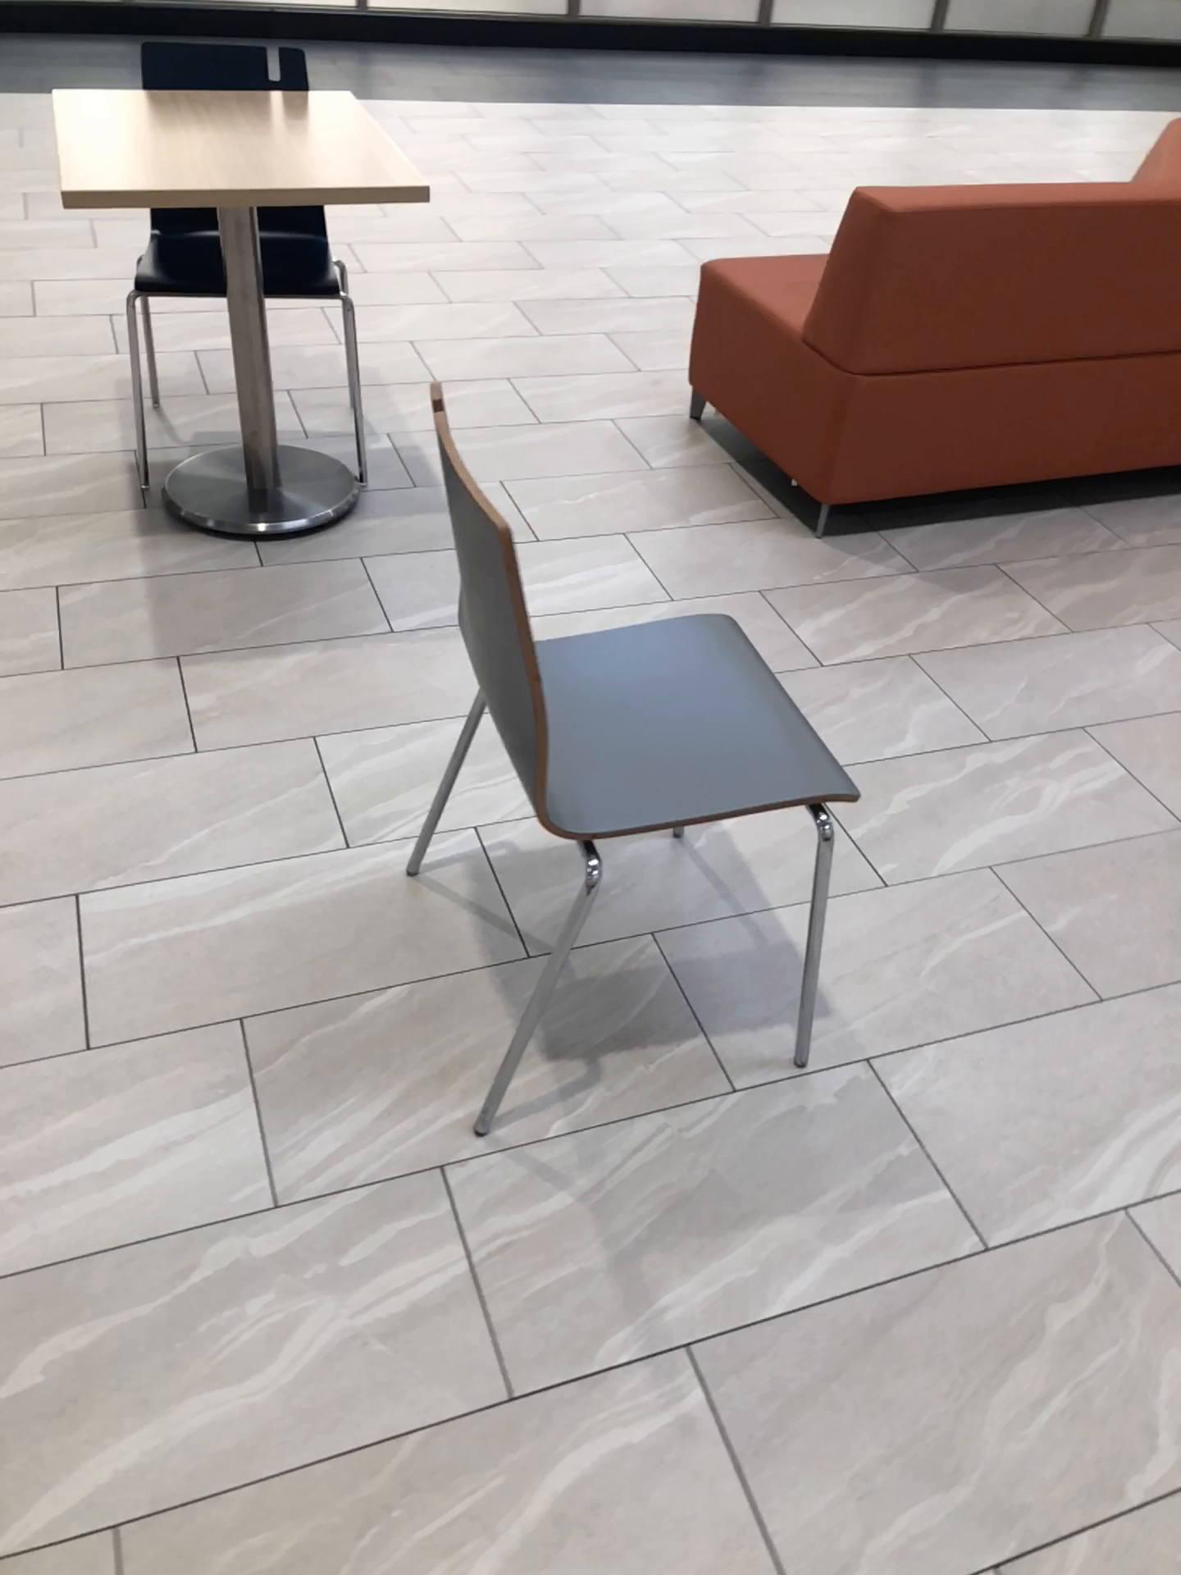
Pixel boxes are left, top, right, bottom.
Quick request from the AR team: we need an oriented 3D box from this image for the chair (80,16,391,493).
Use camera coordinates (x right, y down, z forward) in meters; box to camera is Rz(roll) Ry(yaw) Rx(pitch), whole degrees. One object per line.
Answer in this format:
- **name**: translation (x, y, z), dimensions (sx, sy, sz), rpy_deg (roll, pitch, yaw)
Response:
- **chair**: translation (-0.700, -1.094, 2.684), dimensions (0.514, 0.777, 0.538), rpy_deg (-3, 39, -12)

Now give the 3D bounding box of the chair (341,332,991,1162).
- **chair**: translation (0.015, -0.058, 1.564), dimensions (0.516, 0.787, 0.526), rpy_deg (-8, 40, -17)
